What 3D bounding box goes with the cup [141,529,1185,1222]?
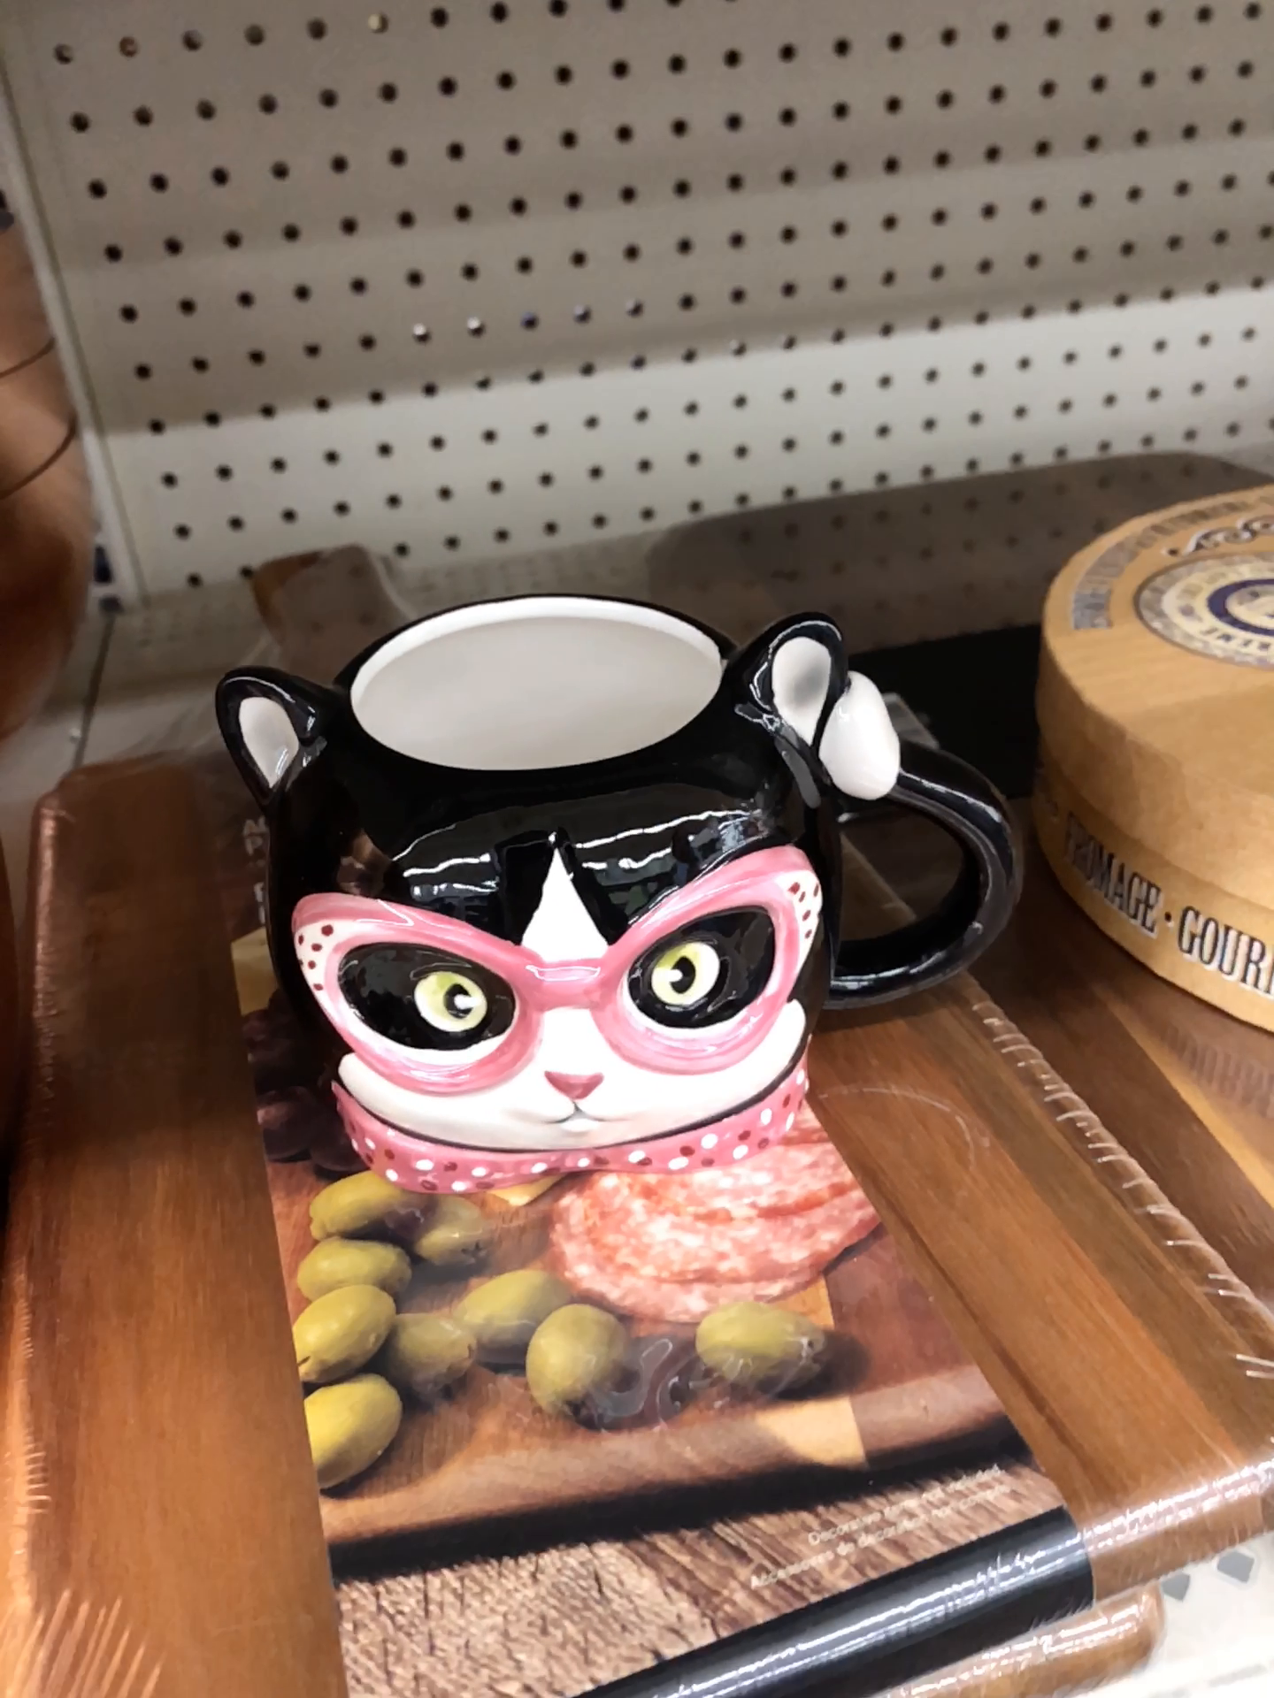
[{"bbox_3d":[0.004,0.001,0.260,0.150,0.080,0.080,-6,33,-2],"label":"cup"}]
